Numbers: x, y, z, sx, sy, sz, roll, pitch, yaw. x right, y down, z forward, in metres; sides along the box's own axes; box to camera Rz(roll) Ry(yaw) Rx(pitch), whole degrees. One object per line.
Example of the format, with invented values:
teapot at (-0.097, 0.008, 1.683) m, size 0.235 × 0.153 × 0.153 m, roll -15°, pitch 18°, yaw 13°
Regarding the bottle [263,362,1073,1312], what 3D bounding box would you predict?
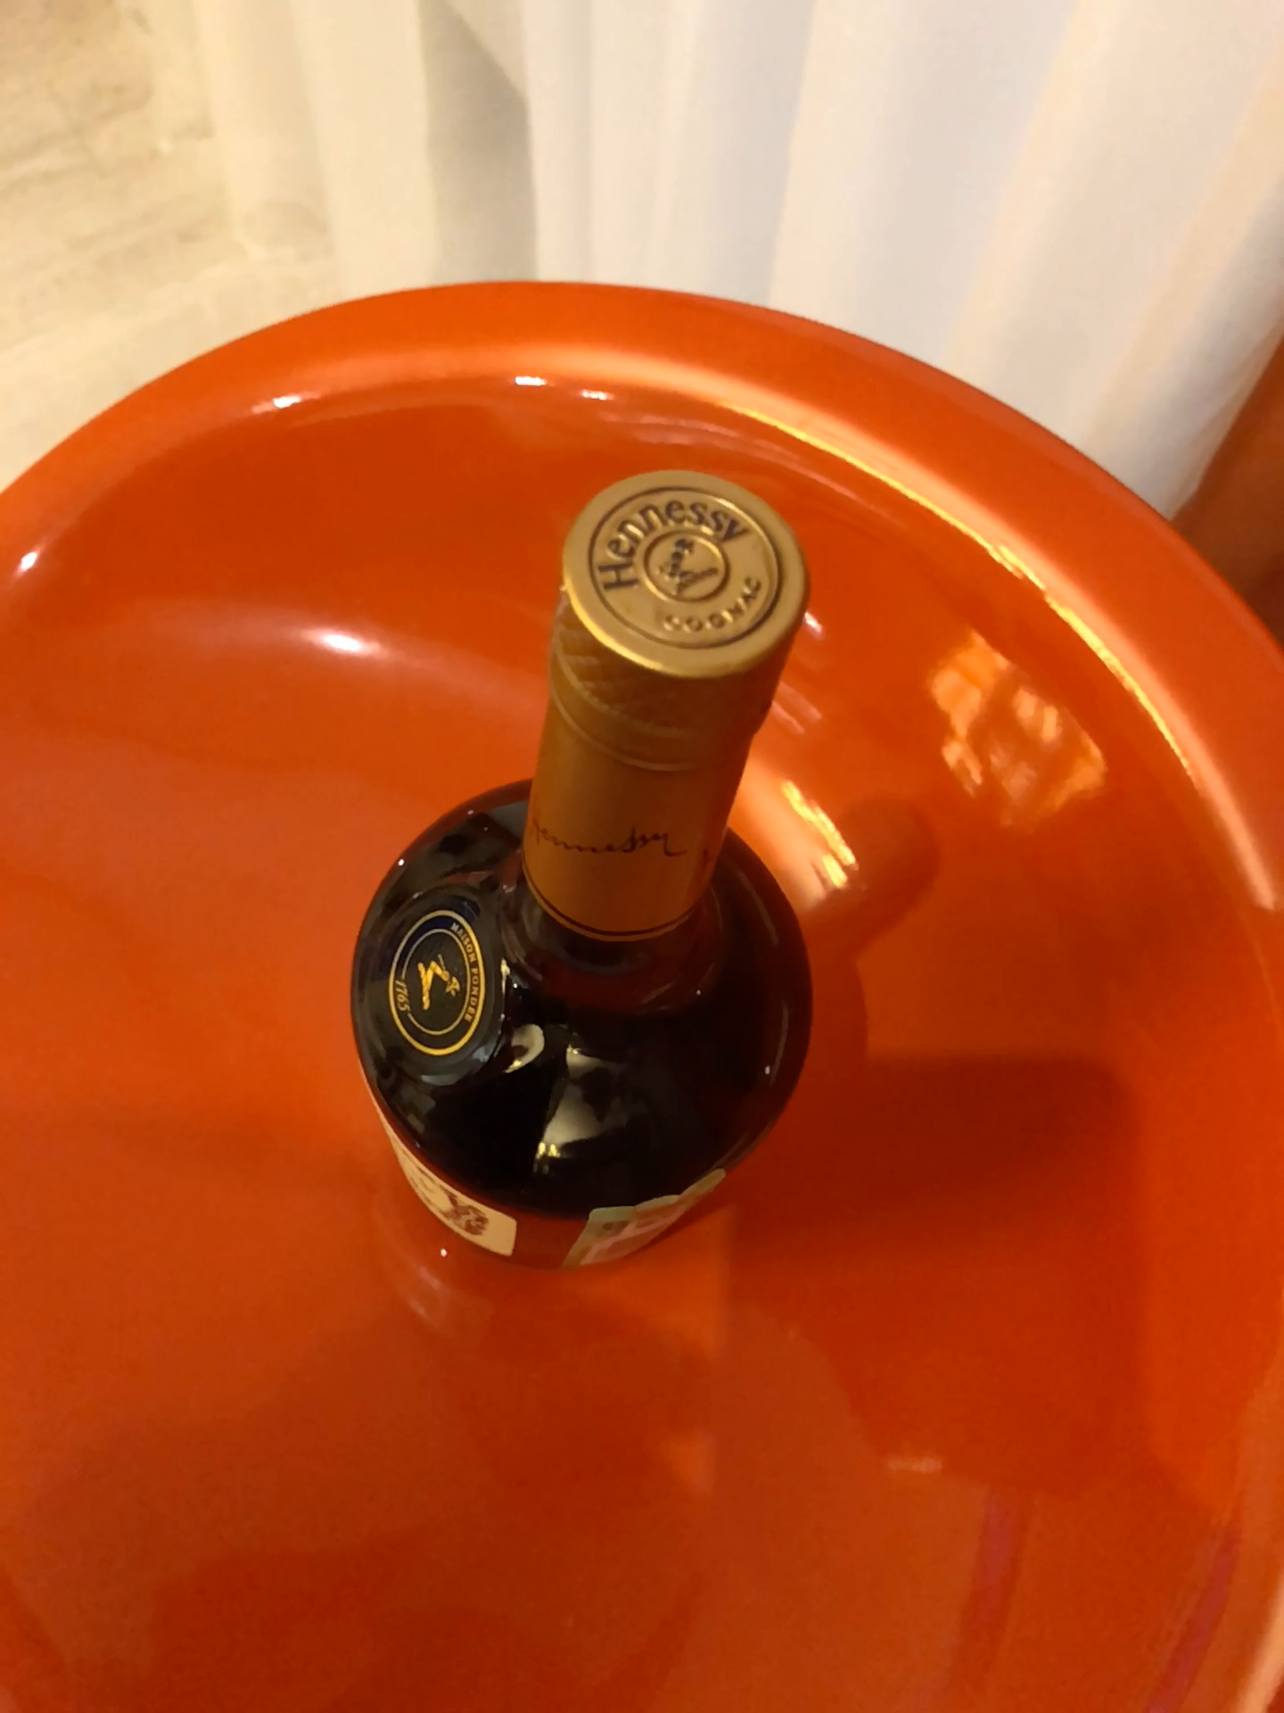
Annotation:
bottle at (-0.011, 0.022, 0.255) m, size 0.079 × 0.219 × 0.079 m, roll 2°, pitch 65°, yaw -5°
